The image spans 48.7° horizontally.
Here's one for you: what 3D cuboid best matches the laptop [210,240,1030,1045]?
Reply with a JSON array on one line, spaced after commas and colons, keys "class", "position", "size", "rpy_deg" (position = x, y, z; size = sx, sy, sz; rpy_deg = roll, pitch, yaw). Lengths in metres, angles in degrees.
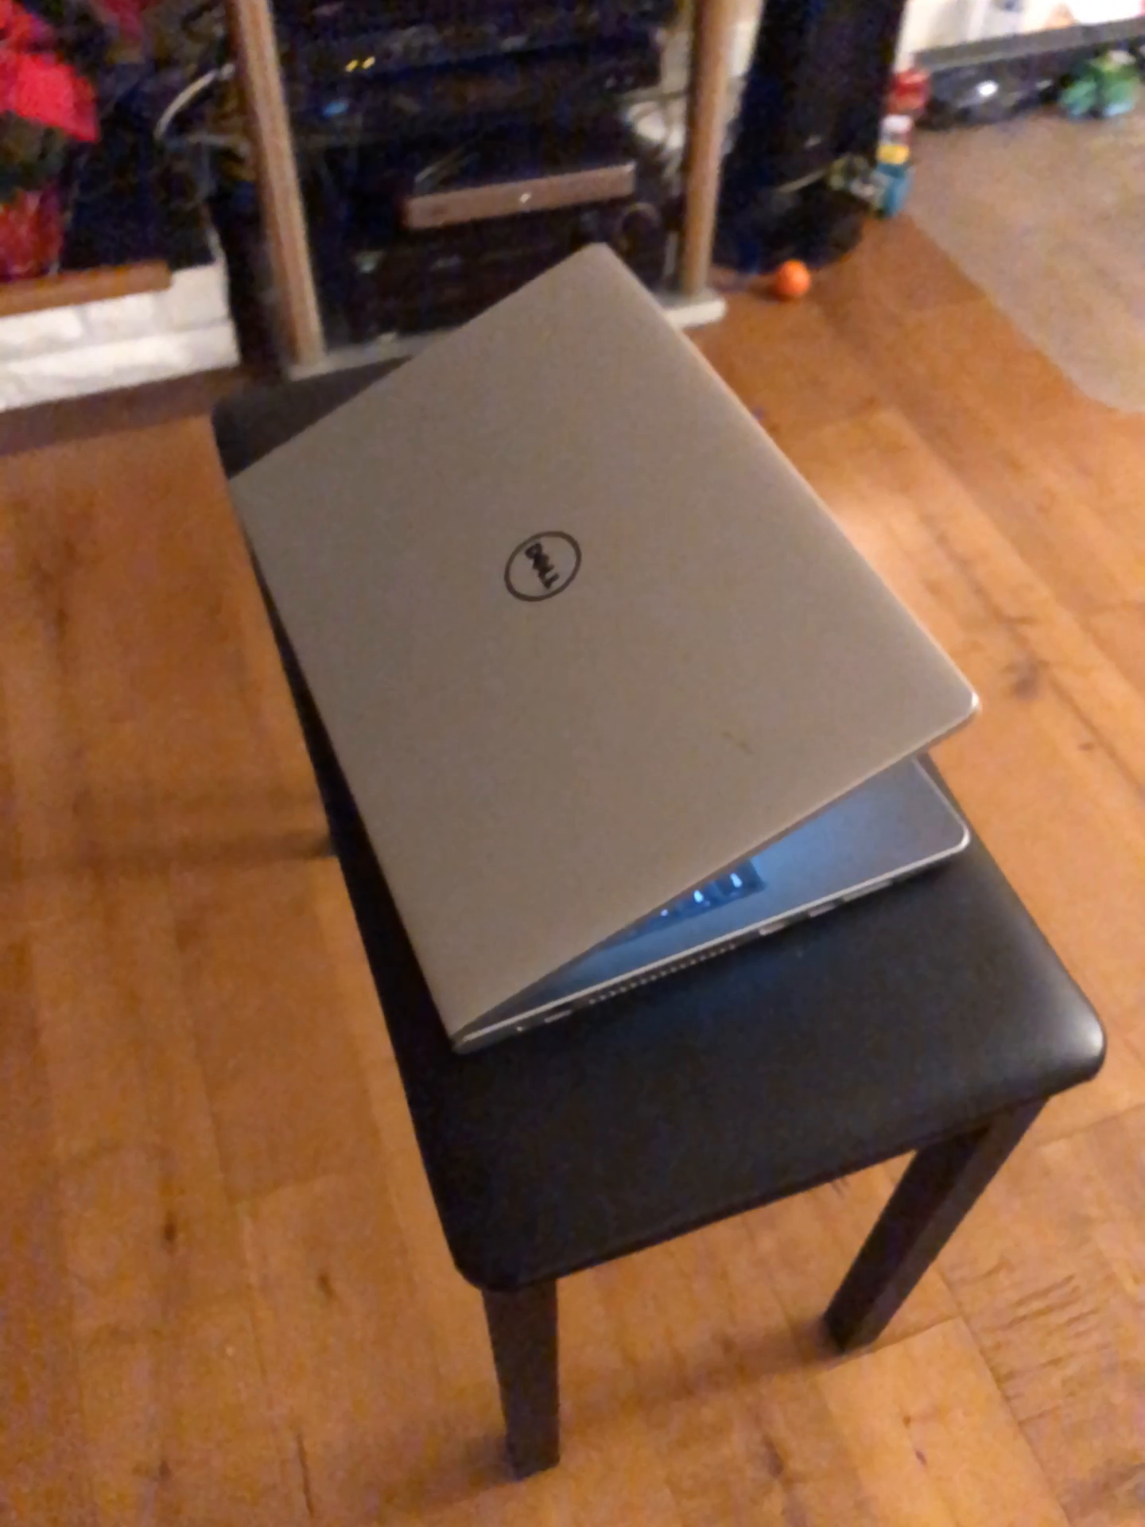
[{"class": "laptop", "position": [-0.003, -0.089, 0.620], "size": [0.247, 0.107, 0.367], "rpy_deg": [-19, 54, -14]}]
